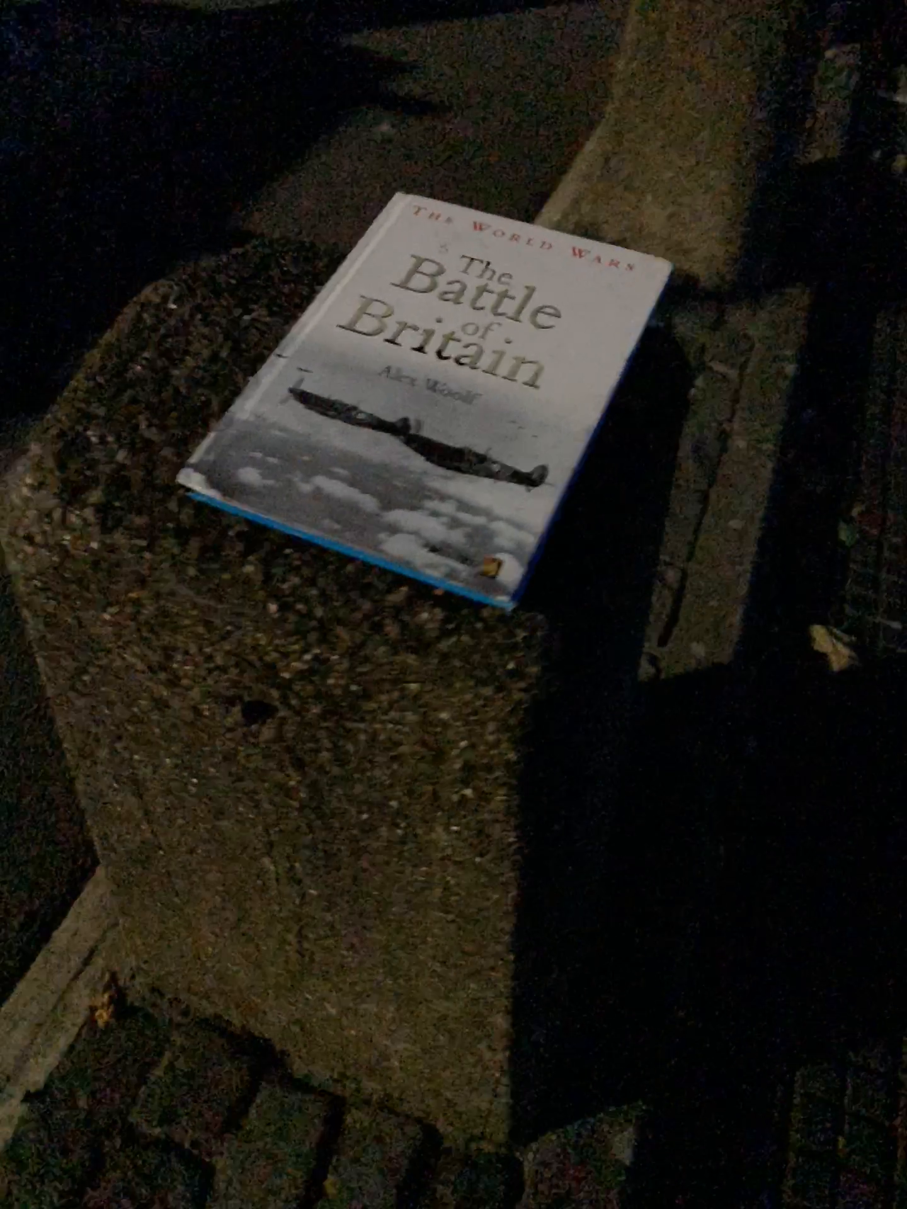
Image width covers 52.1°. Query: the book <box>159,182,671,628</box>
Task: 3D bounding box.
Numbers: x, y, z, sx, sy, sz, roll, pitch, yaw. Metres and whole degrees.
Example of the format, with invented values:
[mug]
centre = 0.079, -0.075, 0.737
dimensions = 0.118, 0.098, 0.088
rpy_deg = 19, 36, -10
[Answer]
[book]
centre = -0.009, -0.120, 0.478
dimensions = 0.170, 0.020, 0.246
rpy_deg = 21, 61, 13
